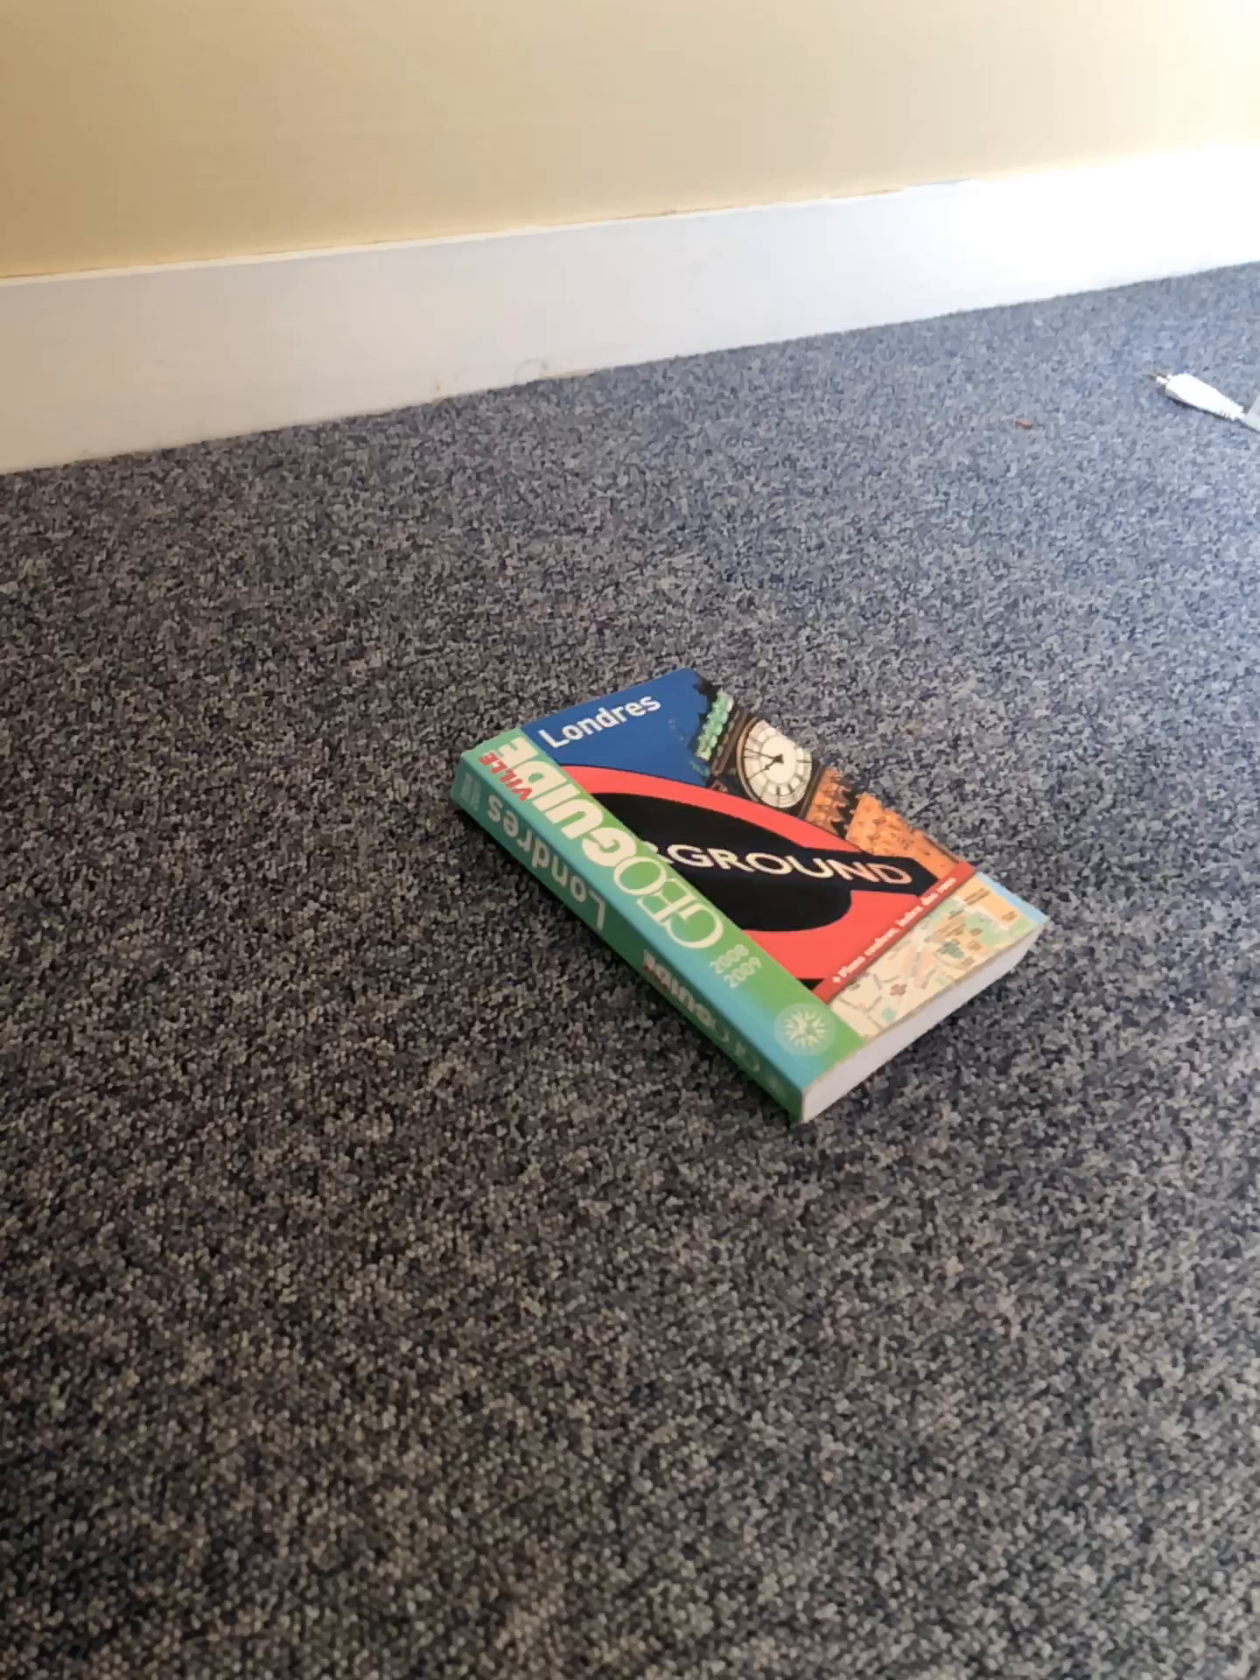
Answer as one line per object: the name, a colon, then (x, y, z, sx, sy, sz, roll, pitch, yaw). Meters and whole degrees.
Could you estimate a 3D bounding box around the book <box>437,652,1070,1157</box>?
book: (0.040, 0.009, 0.515, 0.131, 0.030, 0.200, -25, 50, -33)
